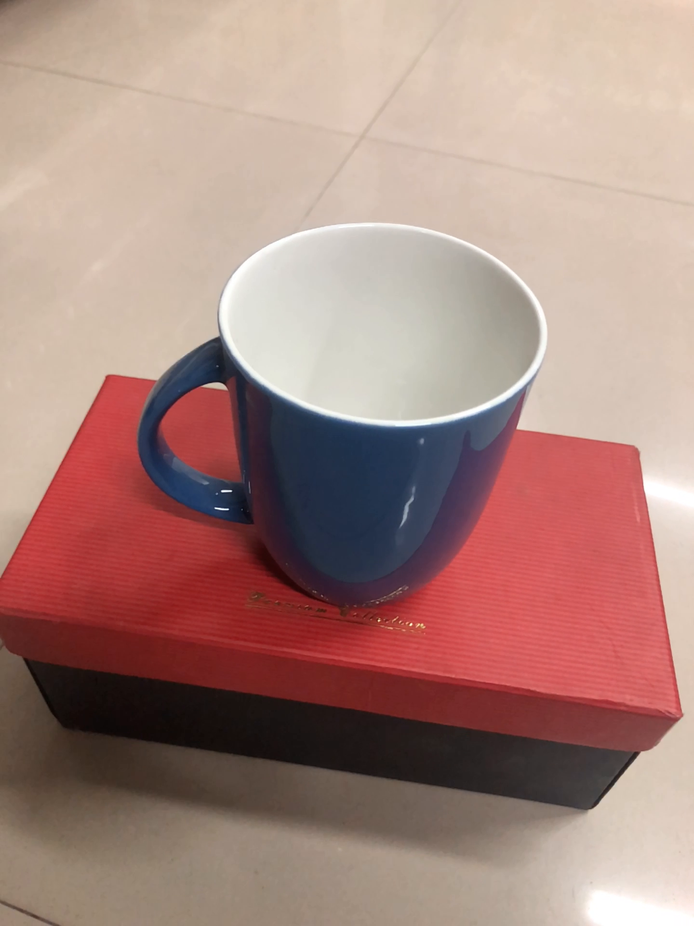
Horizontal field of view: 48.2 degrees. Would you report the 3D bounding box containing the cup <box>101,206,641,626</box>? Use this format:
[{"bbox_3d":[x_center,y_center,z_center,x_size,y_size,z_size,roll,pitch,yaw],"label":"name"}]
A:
[{"bbox_3d":[0.002,-0.012,0.214,0.110,0.080,0.080,0,48,-4],"label":"cup"}]
